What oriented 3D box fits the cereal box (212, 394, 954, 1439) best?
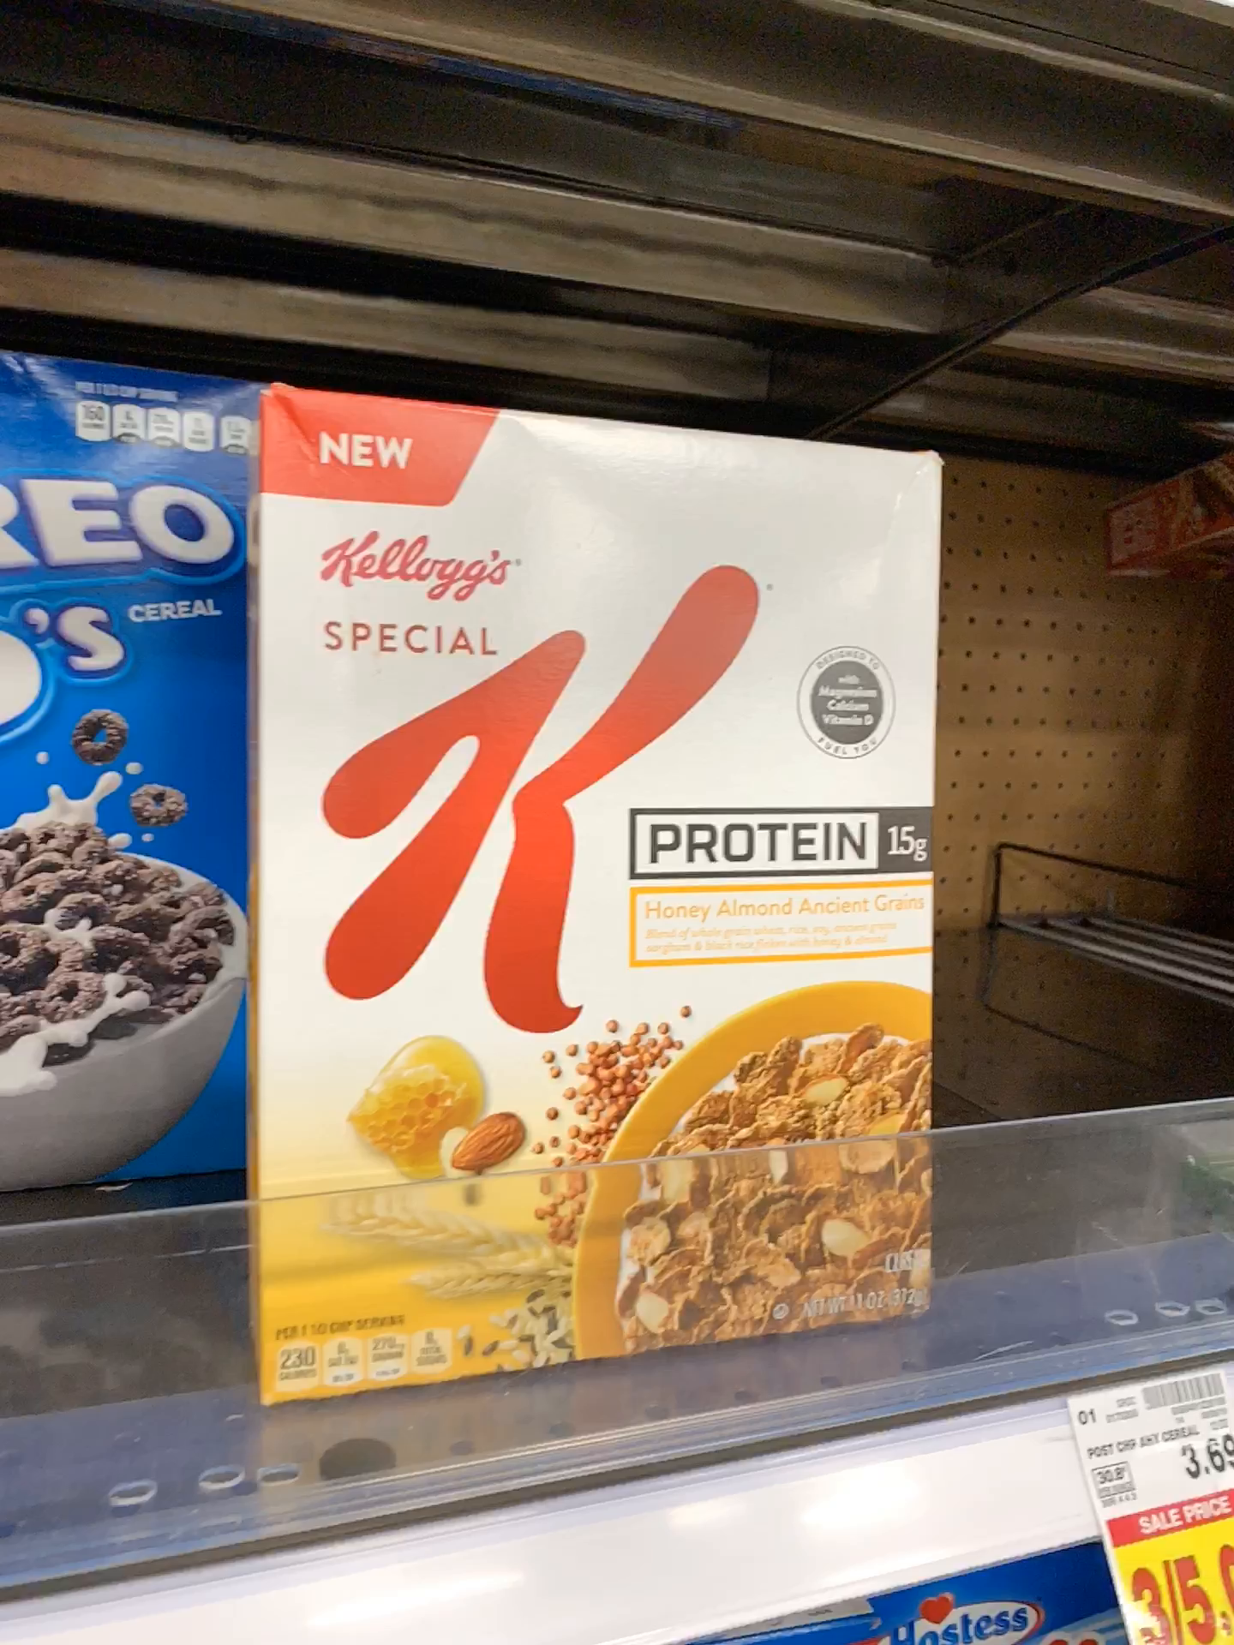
[{"bbox_3d":[-0.006,0.022,0.354,0.200,0.250,0.040,0,2,-18],"label":"cereal box"}]
